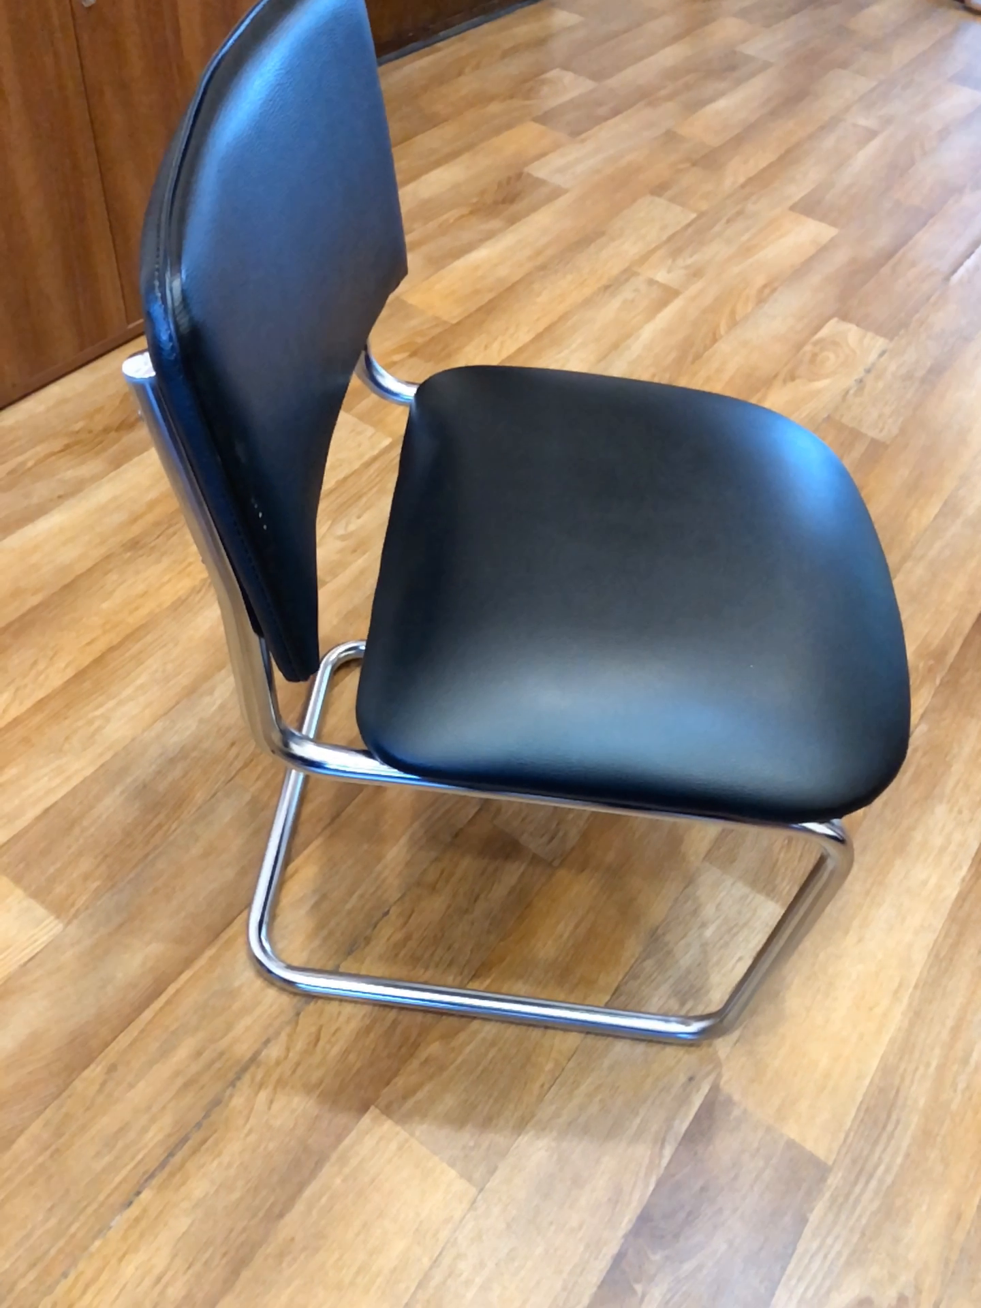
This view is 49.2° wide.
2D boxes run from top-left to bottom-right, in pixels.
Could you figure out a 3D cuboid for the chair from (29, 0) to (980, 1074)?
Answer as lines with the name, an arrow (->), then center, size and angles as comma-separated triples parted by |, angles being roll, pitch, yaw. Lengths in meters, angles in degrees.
chair -> 0.055, -0.063, 0.893 | 0.524, 0.745, 0.494 | 7, 48, -1
